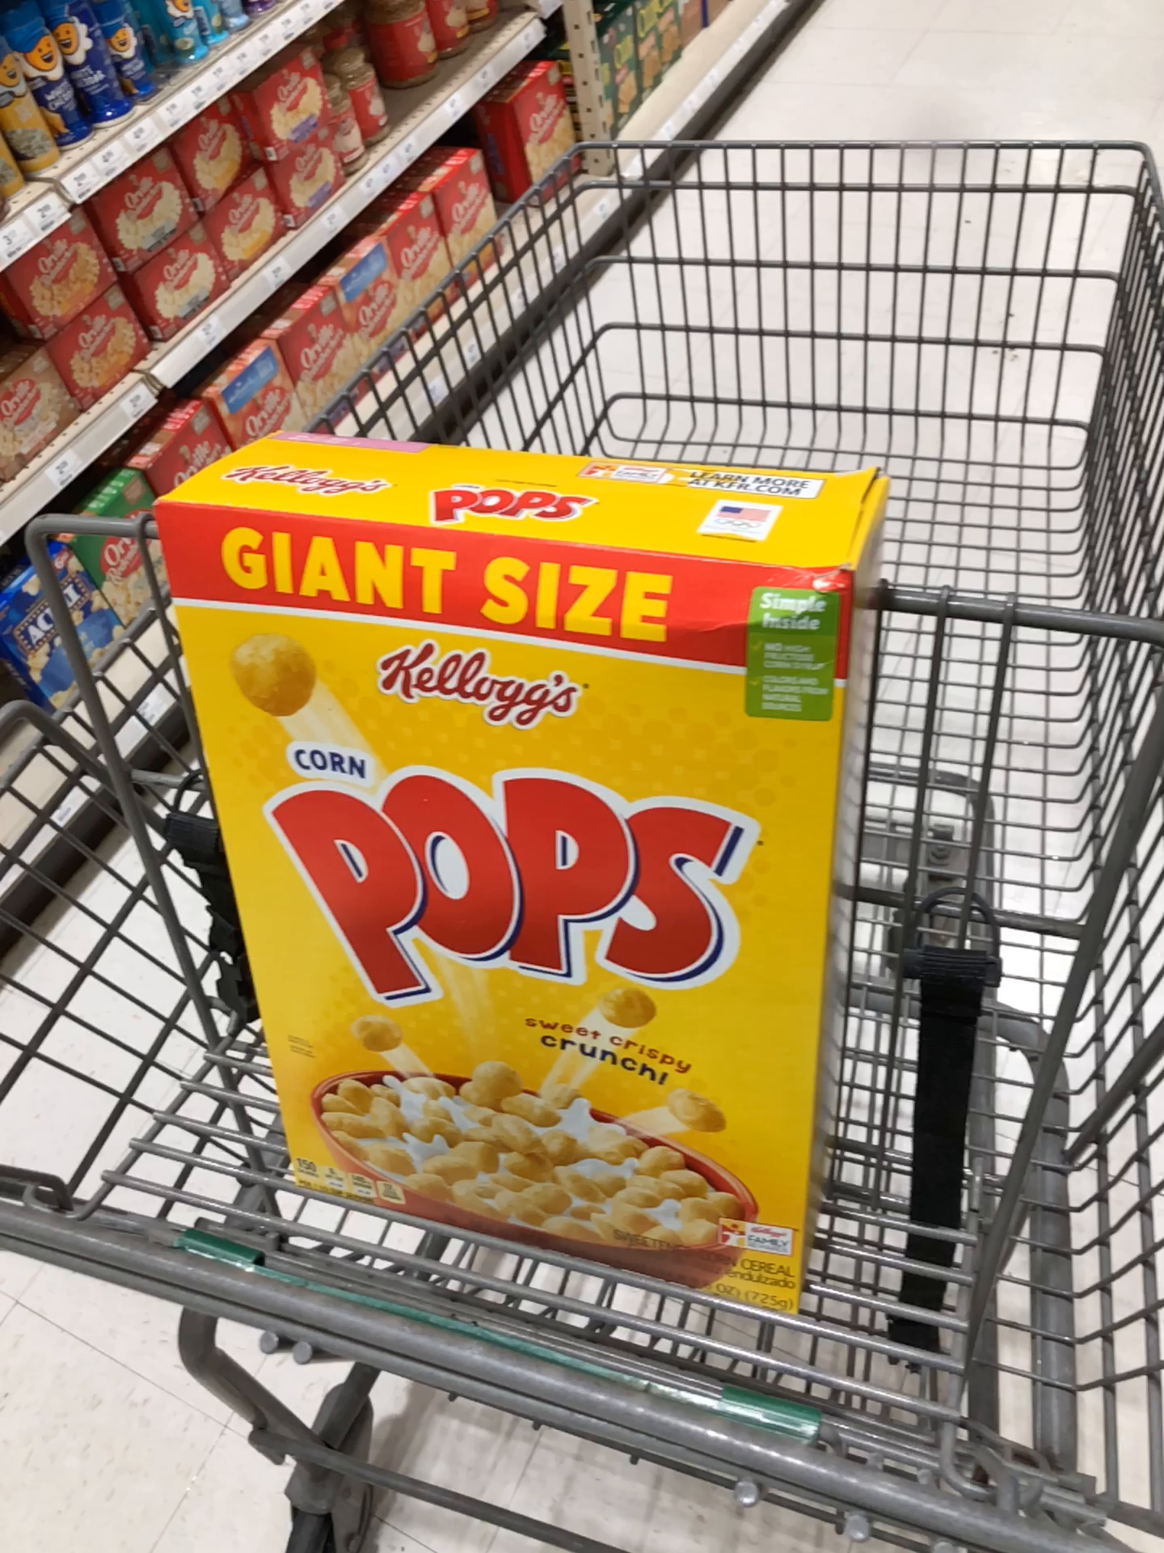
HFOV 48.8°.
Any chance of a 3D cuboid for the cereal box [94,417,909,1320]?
[{"bbox_3d":[-0.021,0.043,0.500,0.250,0.330,0.080,8,34,17],"label":"cereal box"}]
